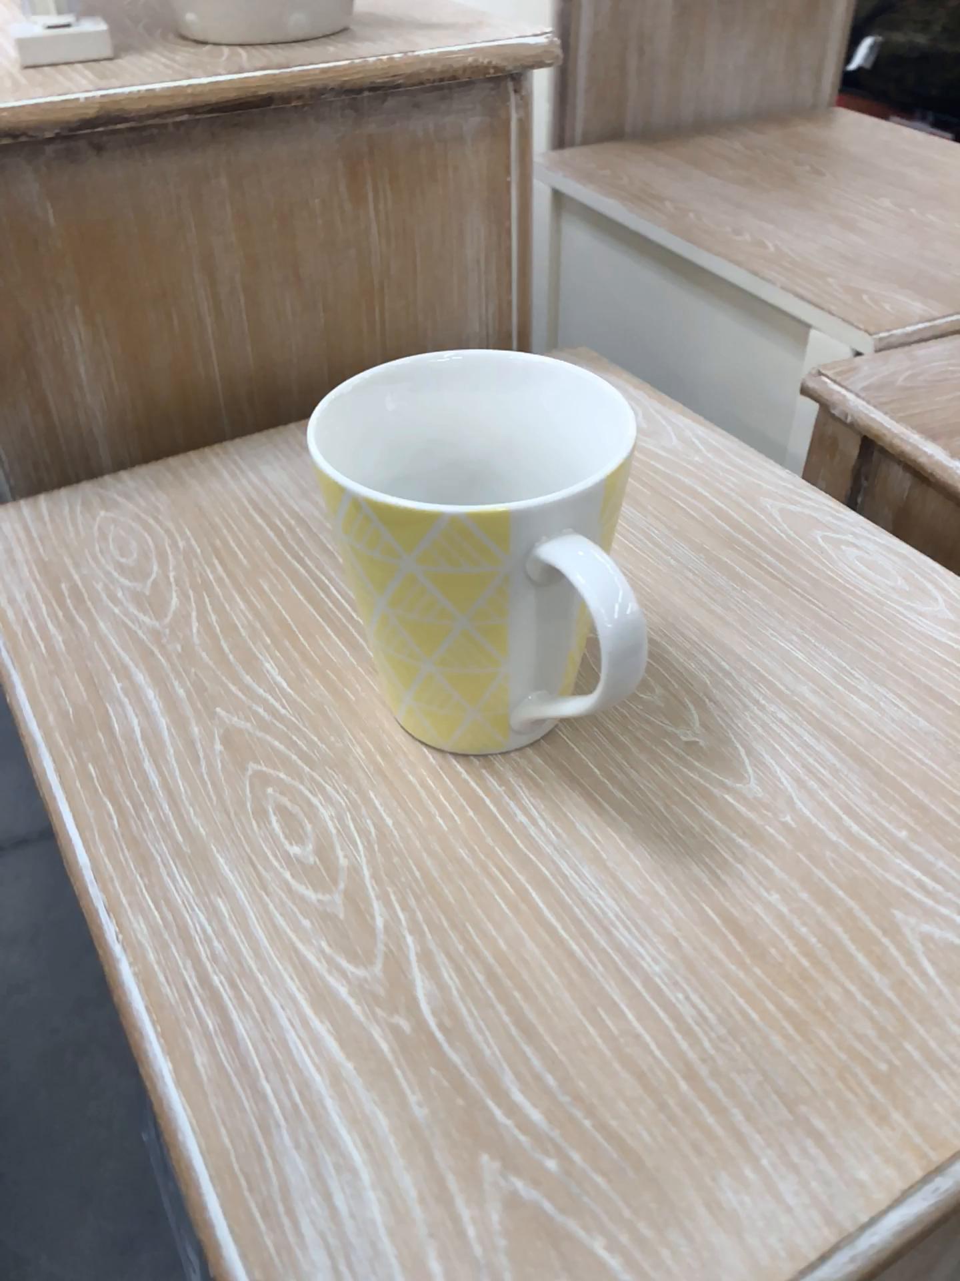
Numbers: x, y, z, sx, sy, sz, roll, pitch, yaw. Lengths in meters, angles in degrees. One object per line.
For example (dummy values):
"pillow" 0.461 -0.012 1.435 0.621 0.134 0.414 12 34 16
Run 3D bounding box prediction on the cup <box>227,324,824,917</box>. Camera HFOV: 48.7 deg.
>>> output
"cup" 0.007 -0.016 0.305 0.103 0.090 0.125 -23 44 -25
